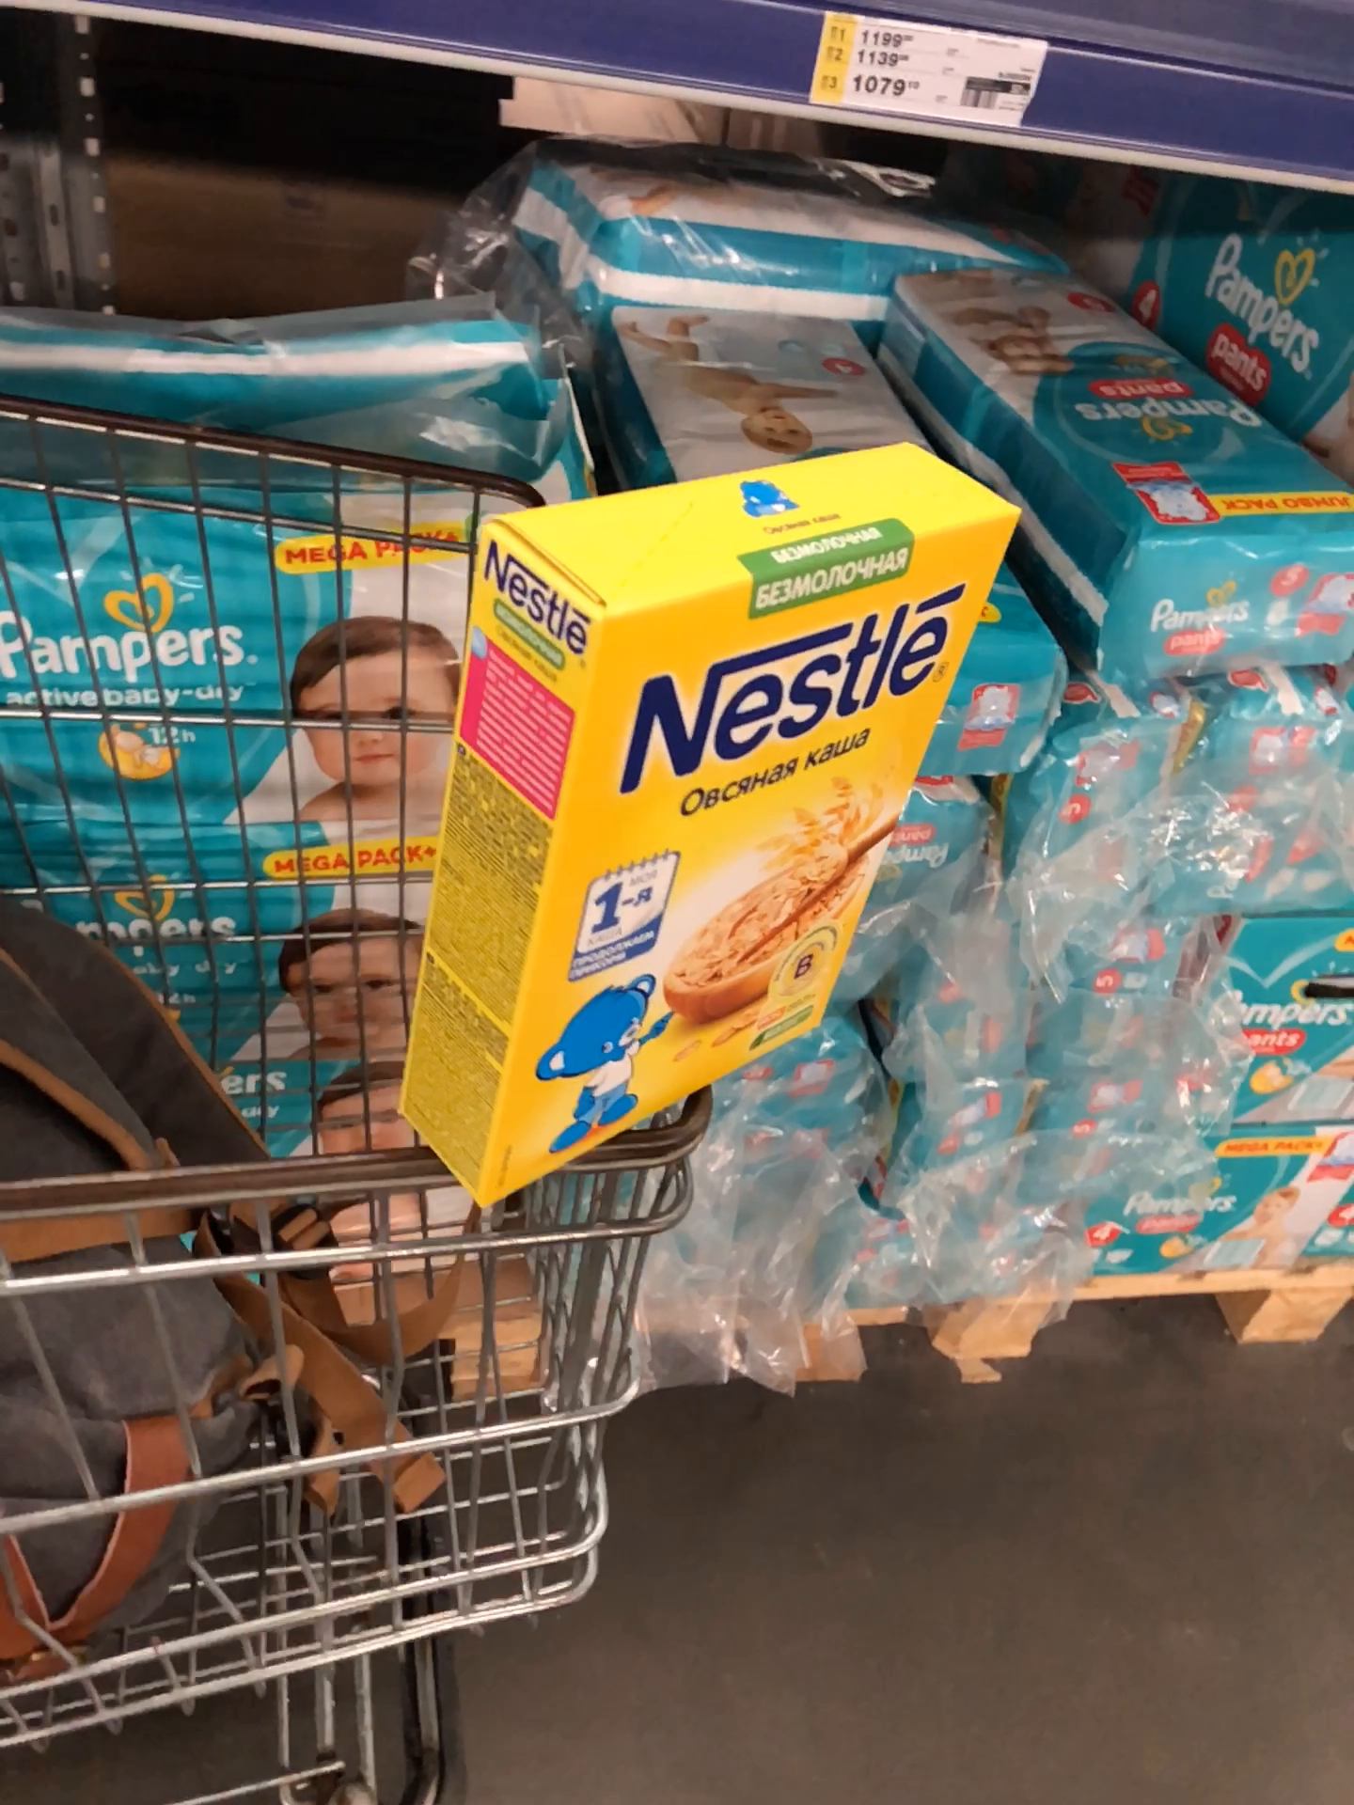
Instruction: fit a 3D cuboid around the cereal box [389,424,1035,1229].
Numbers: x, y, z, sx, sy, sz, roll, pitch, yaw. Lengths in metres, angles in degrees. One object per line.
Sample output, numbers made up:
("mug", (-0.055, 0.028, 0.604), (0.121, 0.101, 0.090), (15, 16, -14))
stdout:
("cereal box", (0.004, -0.020, 0.409), (0.151, 0.199, 0.040), (-24, 52, -39))
